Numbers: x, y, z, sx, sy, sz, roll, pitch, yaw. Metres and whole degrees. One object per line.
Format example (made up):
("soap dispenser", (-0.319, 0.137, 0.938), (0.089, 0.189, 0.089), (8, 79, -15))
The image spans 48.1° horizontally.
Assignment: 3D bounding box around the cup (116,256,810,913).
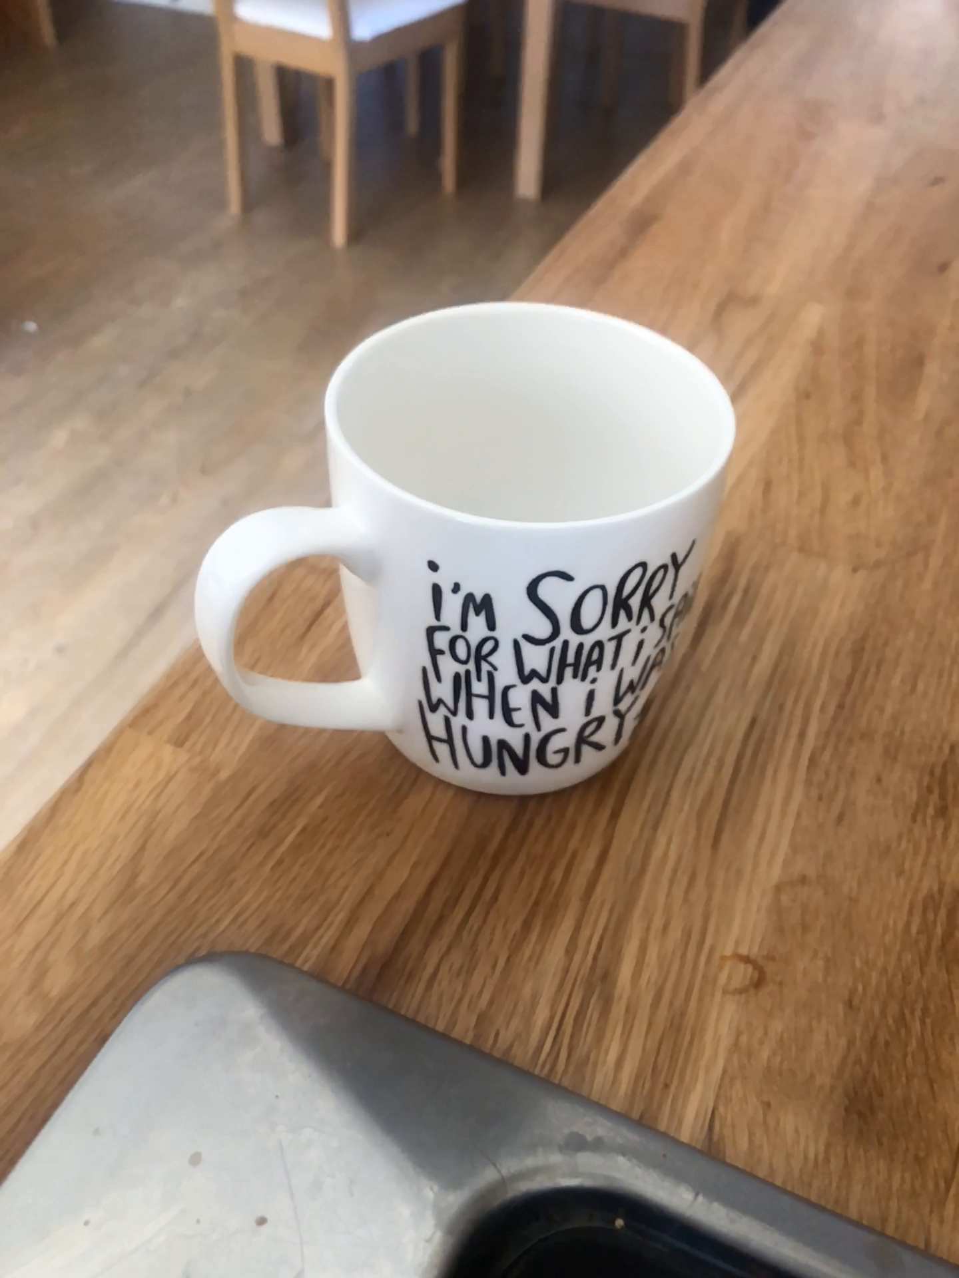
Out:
("cup", (-0.006, -0.019, 0.253), (0.114, 0.087, 0.090), (-23, 49, -24))
